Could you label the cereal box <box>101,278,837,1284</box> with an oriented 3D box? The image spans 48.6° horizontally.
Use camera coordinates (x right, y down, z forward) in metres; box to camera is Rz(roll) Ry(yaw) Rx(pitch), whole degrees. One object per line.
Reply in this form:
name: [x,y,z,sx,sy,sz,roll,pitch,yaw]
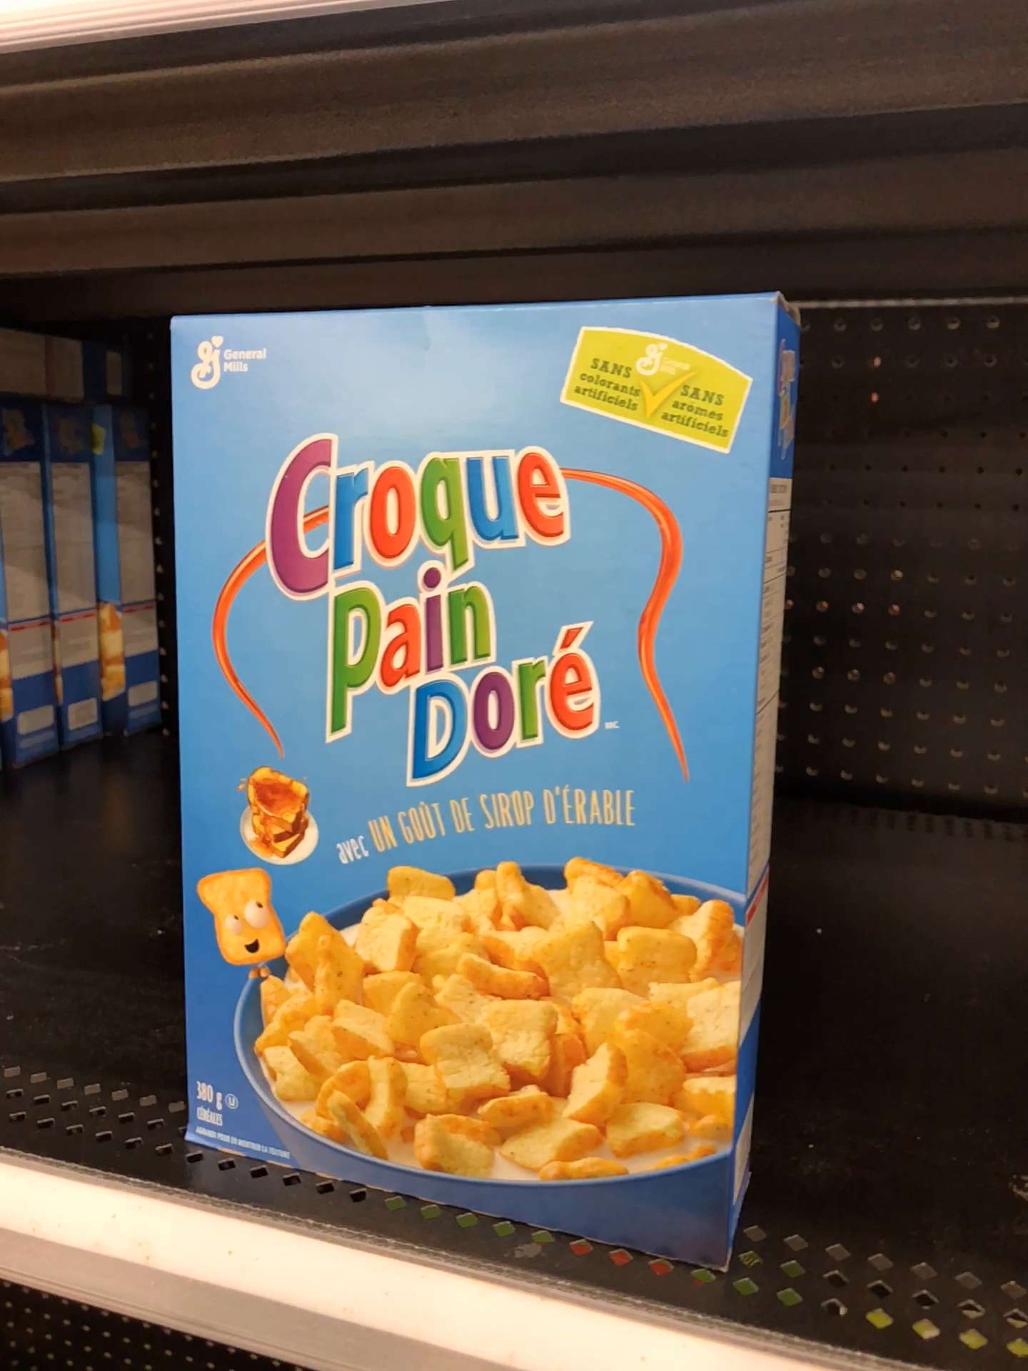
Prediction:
cereal box: [-0.017,0.022,0.359,0.210,0.269,0.060,4,10,20]
